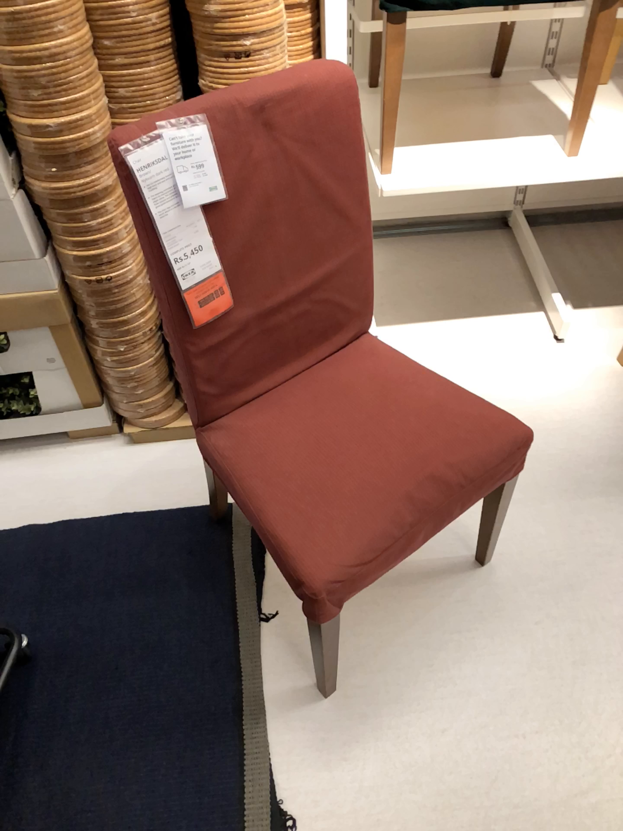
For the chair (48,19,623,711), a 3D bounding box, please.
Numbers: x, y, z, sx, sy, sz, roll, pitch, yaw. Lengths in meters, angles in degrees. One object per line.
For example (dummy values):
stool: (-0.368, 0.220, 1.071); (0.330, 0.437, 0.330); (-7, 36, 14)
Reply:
chair: (0.041, -0.029, 1.220); (0.521, 0.994, 0.532); (-31, 54, -23)
